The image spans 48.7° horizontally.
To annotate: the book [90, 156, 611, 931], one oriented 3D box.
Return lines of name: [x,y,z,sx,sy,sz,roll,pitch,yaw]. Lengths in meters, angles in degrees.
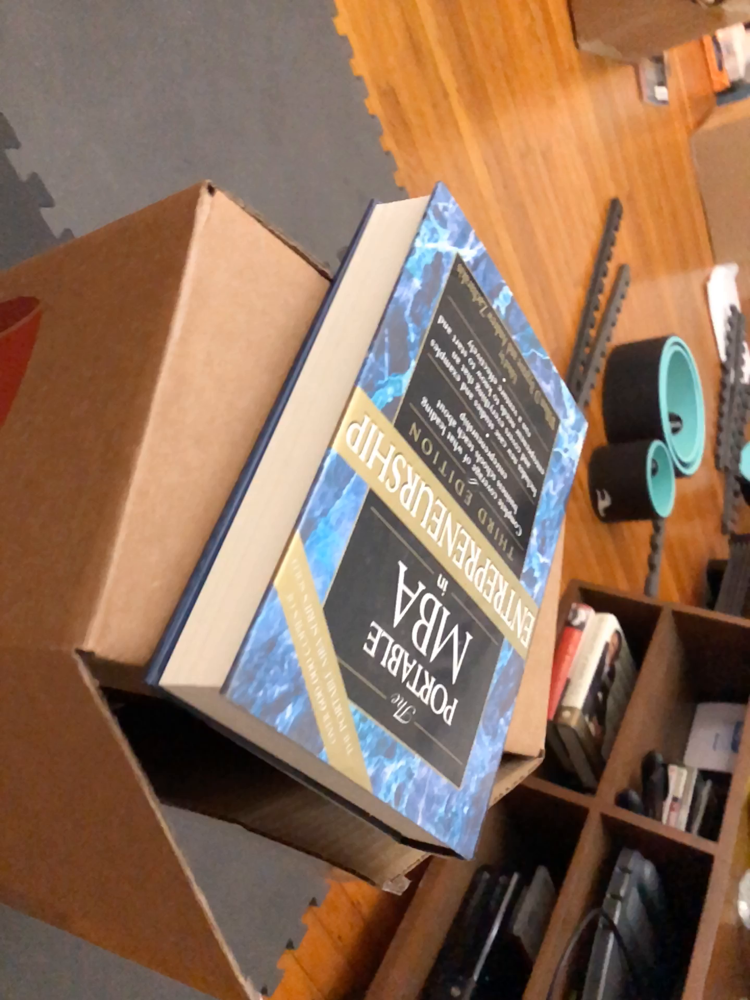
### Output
book: [0.026,0.022,0.381,0.211,0.060,0.271,47,49,-40]
